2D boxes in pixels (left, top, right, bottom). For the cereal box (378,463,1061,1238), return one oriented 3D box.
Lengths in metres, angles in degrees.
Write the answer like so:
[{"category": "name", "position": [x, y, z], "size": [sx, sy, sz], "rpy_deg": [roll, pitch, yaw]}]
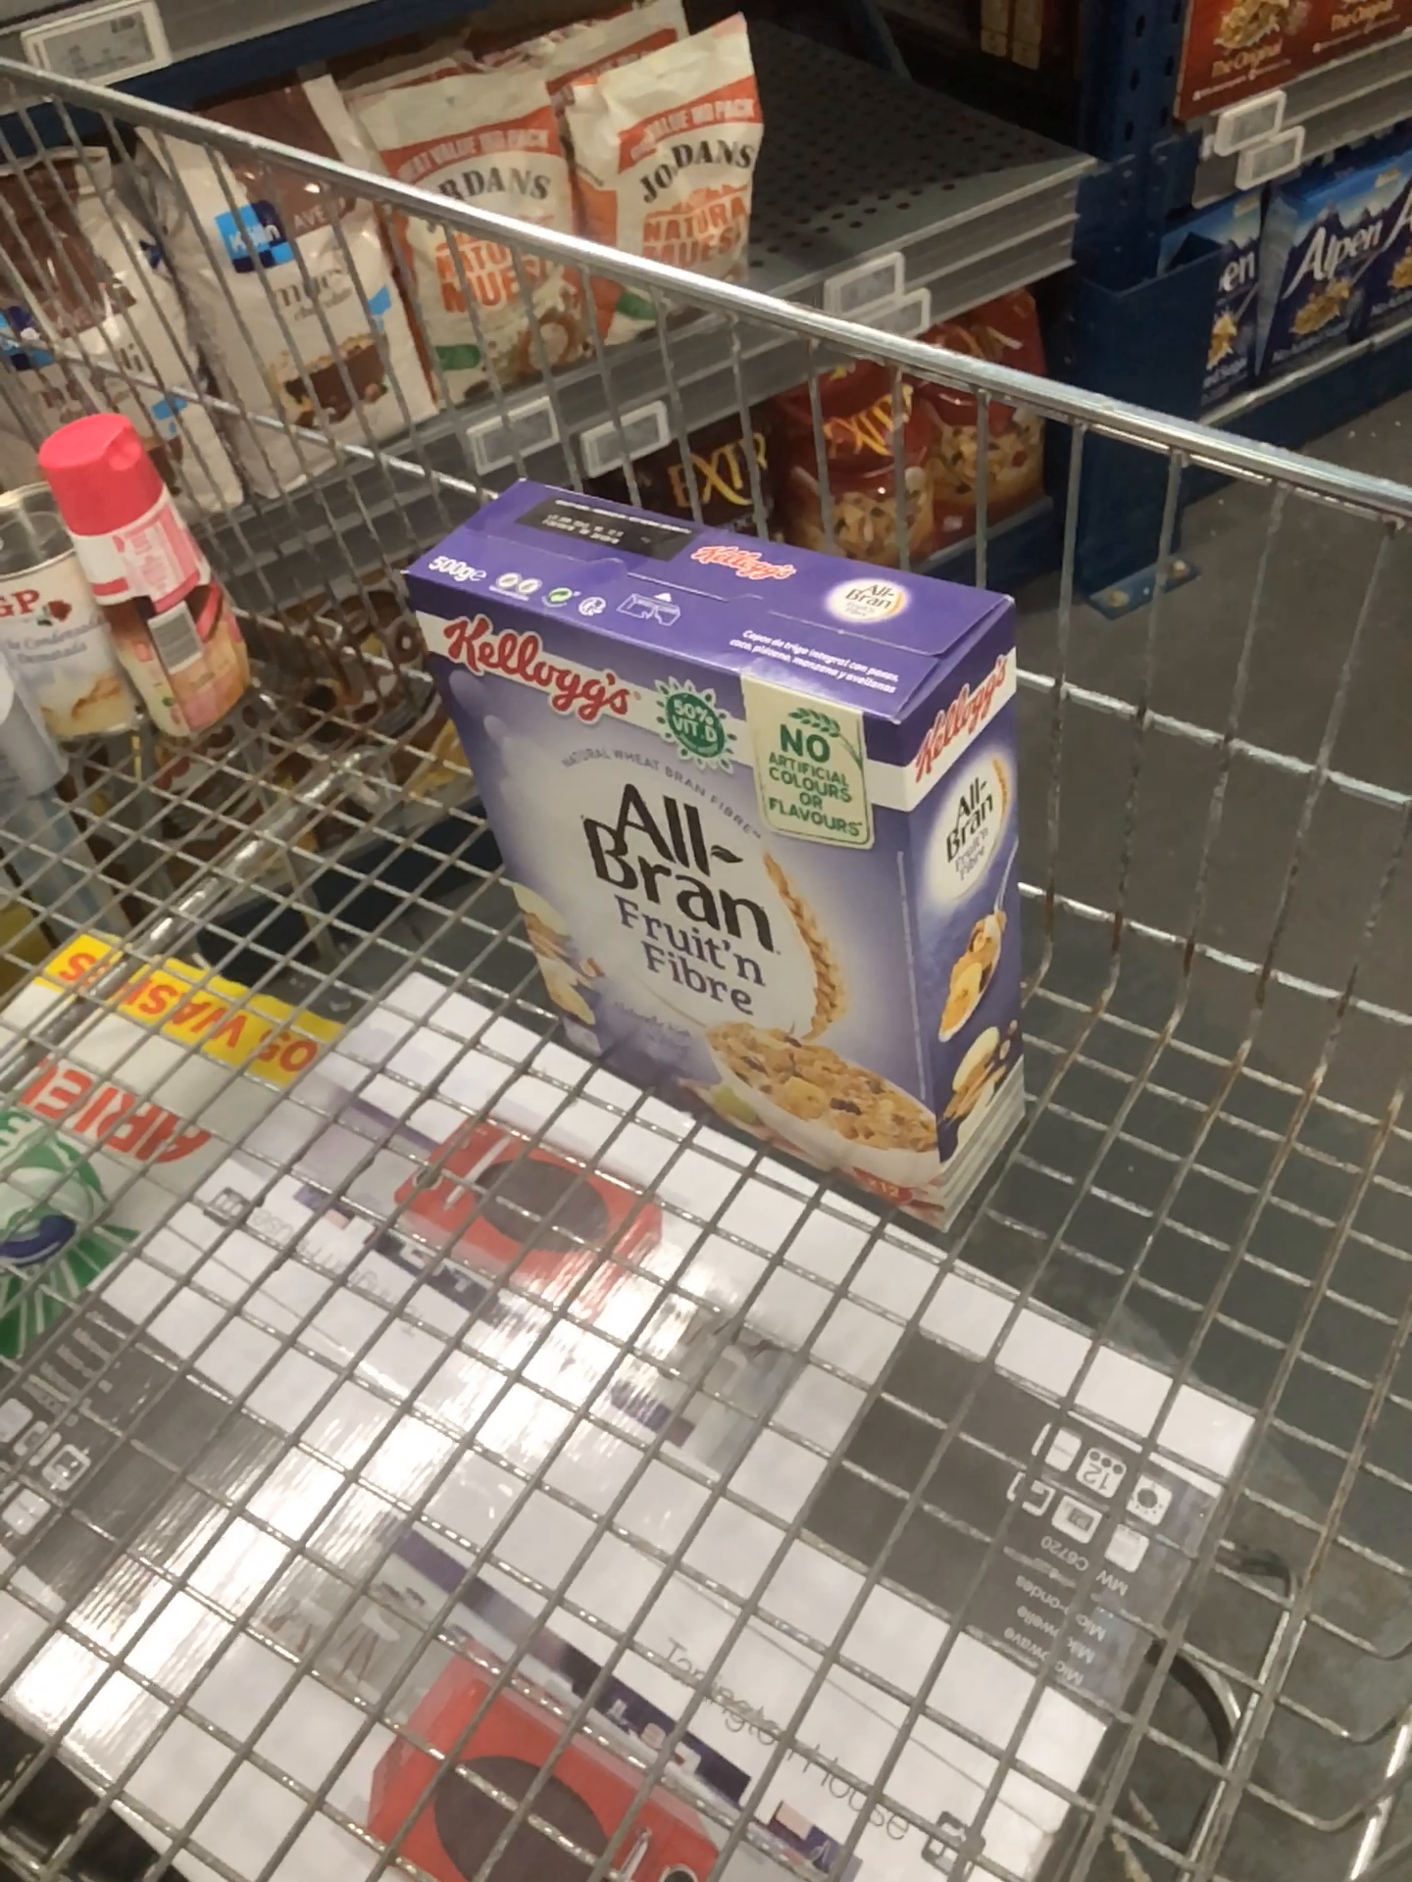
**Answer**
[{"category": "cereal box", "position": [0.016, -0.030, 0.558], "size": [0.200, 0.229, 0.080], "rpy_deg": [22, 54, 30]}]
